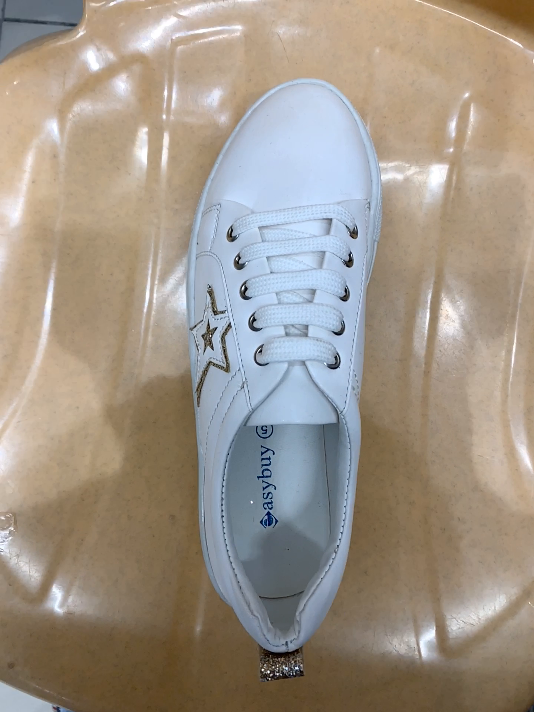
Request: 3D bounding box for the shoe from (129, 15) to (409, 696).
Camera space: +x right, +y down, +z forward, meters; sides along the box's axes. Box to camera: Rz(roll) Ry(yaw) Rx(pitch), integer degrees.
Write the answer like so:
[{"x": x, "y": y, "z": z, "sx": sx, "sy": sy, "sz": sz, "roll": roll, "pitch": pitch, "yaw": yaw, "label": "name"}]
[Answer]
[{"x": 0.002, "y": -0.001, "z": 0.243, "sx": 0.090, "sy": 0.090, "sz": 0.240, "roll": 2, "pitch": 90, "yaw": 2, "label": "shoe"}]
